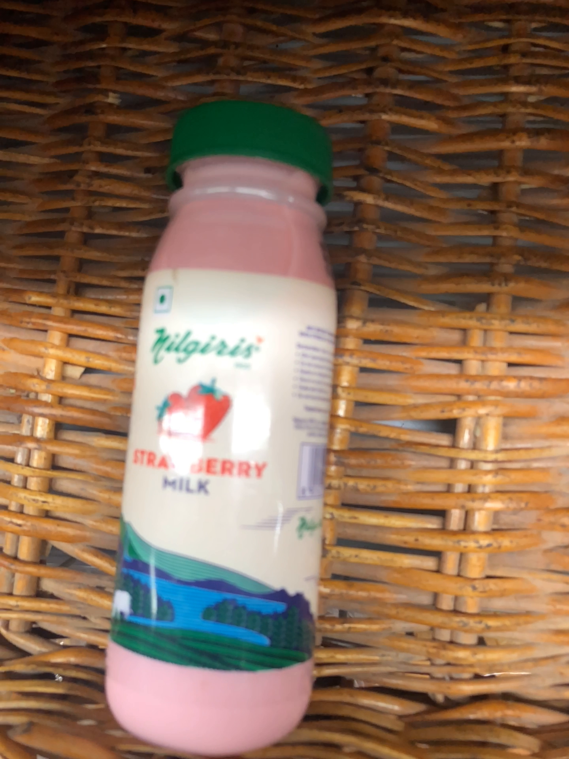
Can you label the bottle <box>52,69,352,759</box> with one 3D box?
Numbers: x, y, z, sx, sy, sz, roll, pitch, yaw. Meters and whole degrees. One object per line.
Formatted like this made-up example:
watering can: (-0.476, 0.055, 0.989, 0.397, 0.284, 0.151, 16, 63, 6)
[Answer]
bottle: (-0.015, 0.009, 0.151, 0.050, 0.040, 0.150, 4, 86, 8)
